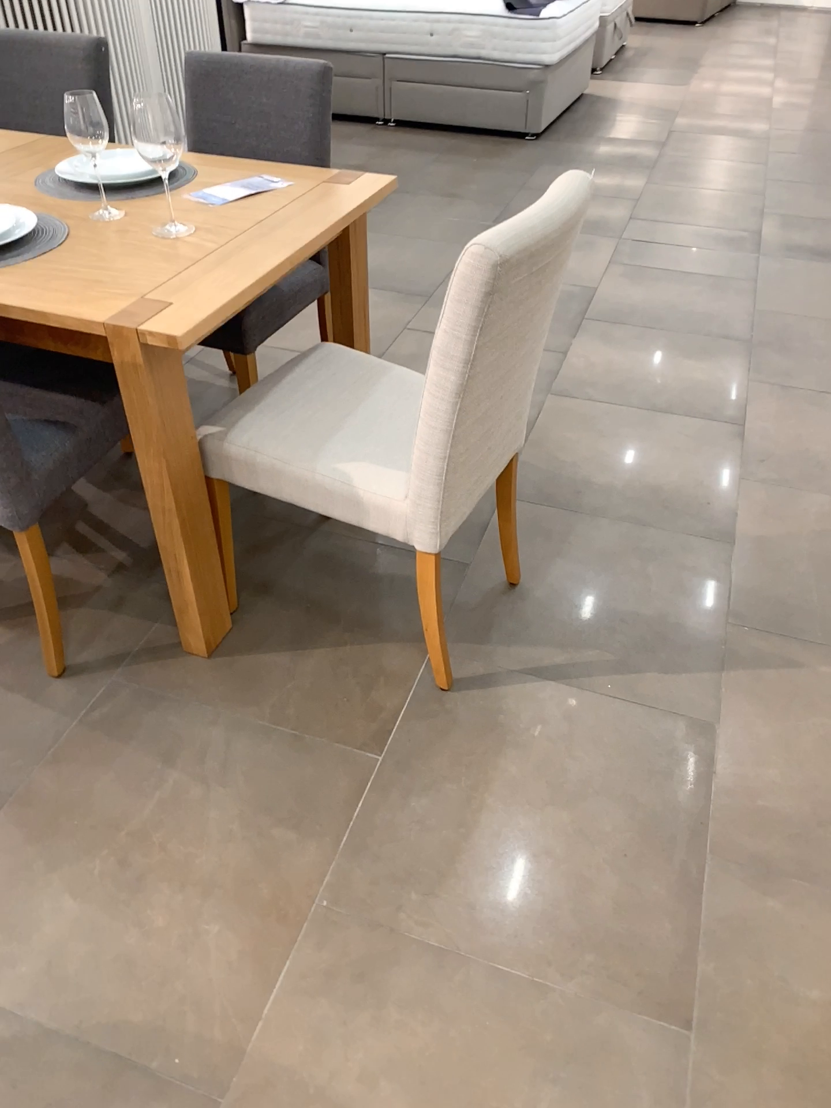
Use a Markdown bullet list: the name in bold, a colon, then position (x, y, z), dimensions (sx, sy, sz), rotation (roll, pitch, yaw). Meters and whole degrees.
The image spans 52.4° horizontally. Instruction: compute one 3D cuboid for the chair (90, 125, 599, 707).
- **chair**: position (-0.093, -0.283, 1.636), dimensions (0.643, 0.838, 0.540), rotation (18, 42, 21)
